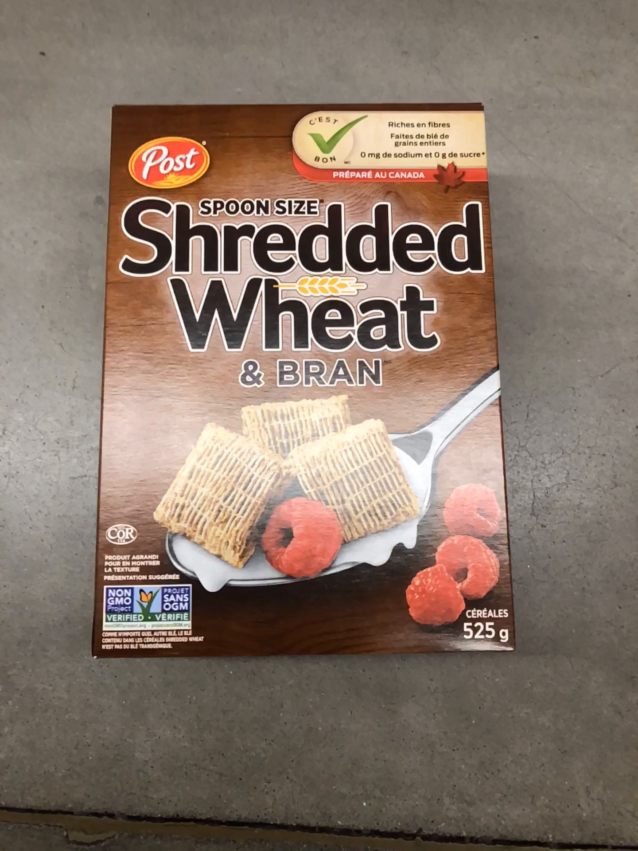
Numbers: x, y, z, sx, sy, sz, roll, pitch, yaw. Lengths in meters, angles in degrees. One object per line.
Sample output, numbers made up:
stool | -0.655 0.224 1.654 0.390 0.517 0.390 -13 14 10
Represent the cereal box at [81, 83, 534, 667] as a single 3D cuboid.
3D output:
cereal box | -0.007 -0.028 0.367 0.200 0.070 0.280 -1 81 0
